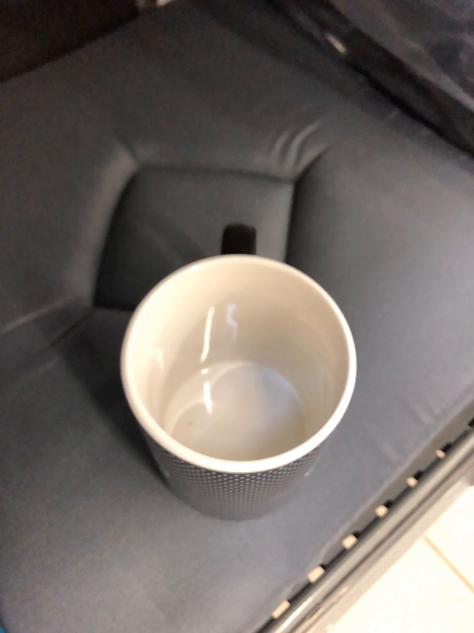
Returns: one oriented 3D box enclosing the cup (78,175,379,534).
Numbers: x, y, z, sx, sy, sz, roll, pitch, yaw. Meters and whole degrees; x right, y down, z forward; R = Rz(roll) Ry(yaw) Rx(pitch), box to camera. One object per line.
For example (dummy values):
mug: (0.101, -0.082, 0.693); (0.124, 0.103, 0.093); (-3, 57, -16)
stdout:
cup: (0.001, 0.021, 0.234); (0.090, 0.100, 0.120); (3, 61, 2)
